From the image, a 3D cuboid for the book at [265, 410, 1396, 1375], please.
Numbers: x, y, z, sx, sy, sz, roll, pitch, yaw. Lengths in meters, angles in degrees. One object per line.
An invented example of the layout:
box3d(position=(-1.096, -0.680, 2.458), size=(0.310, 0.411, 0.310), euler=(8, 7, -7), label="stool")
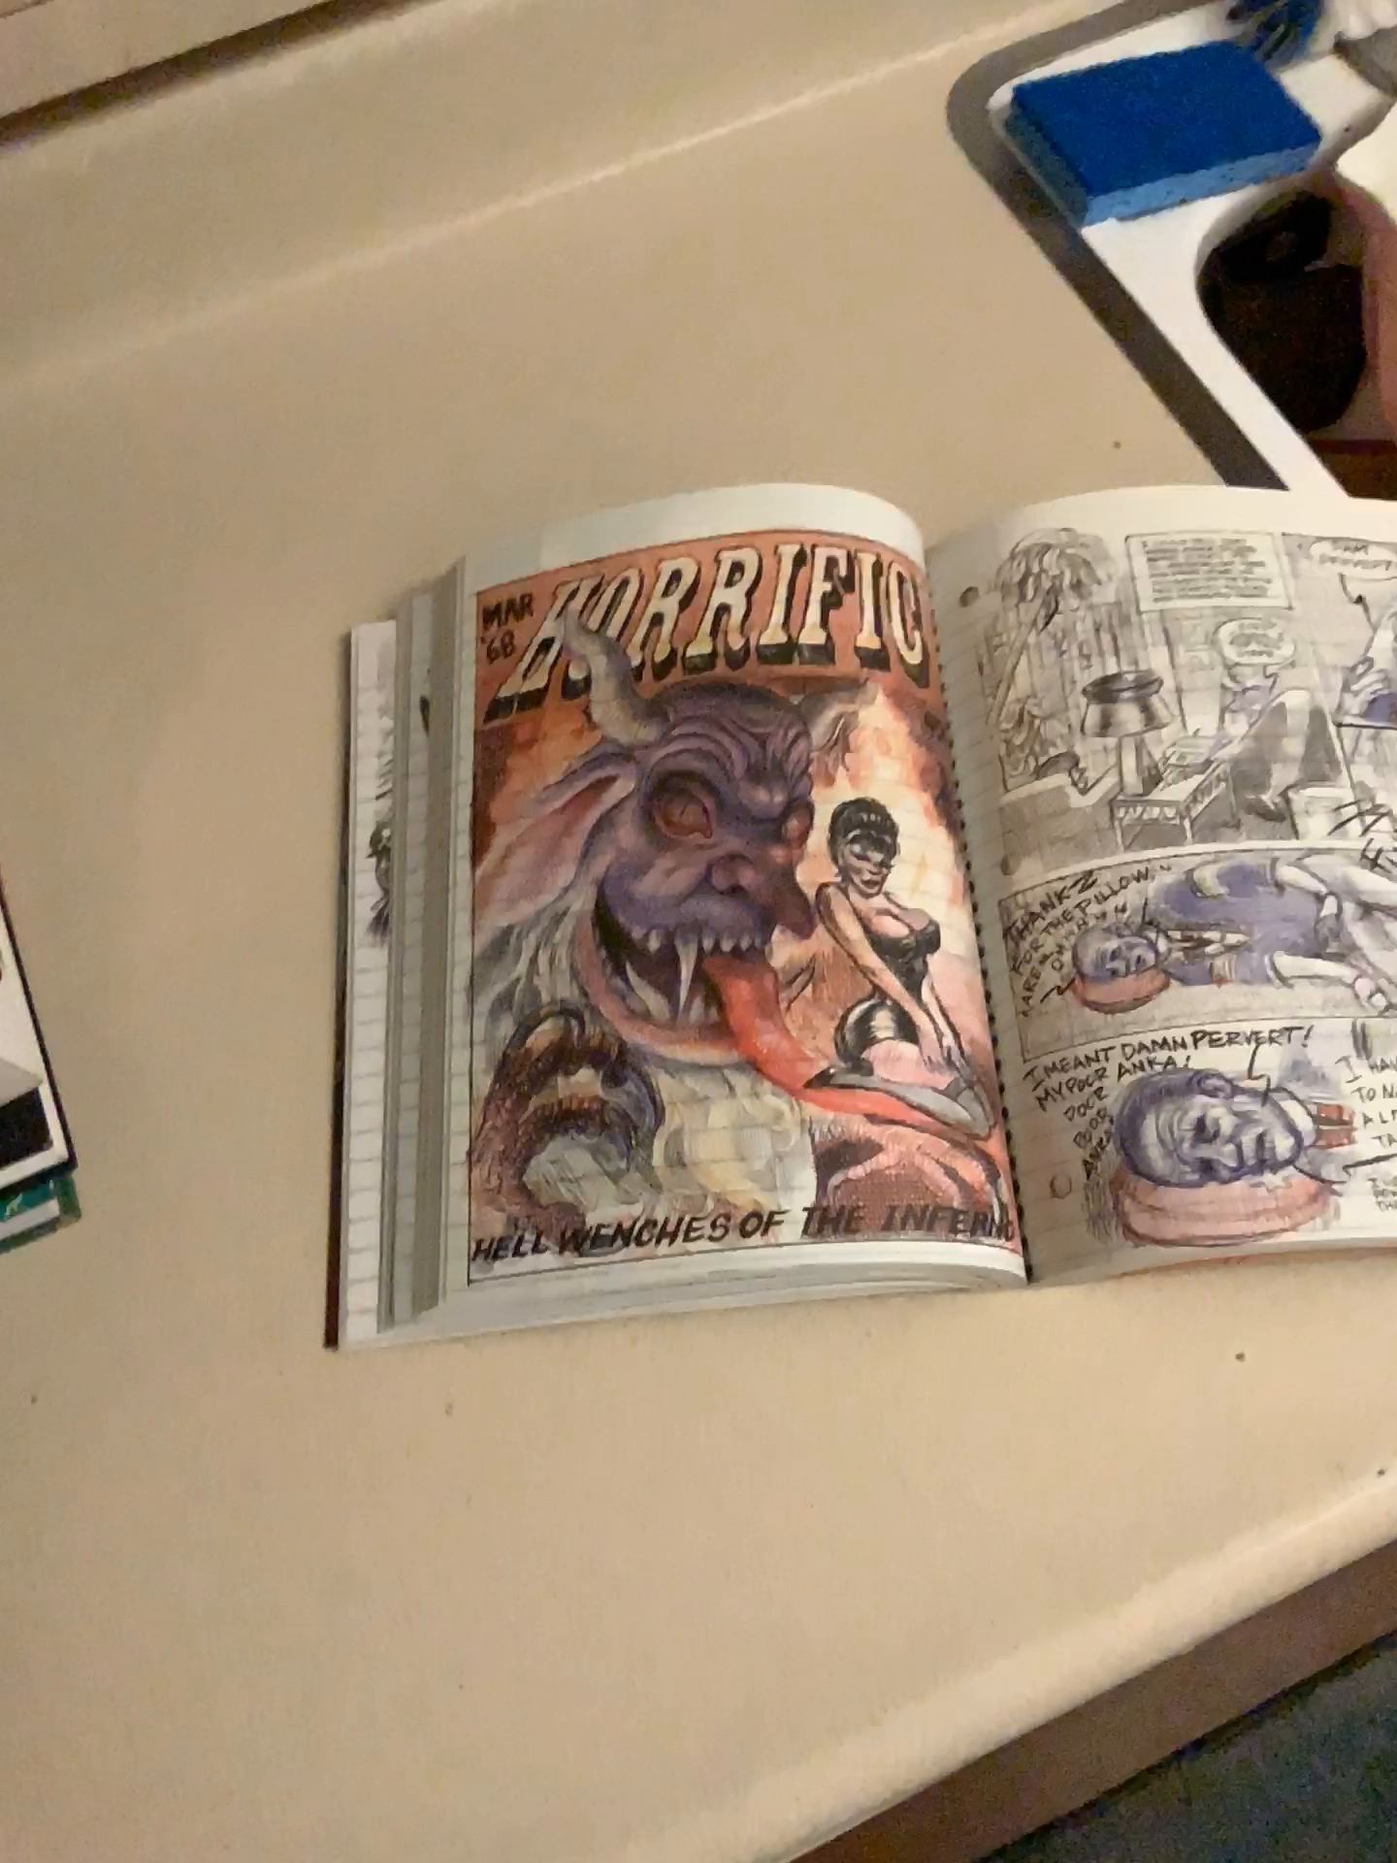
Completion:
box3d(position=(0.090, -0.023, 0.496), size=(0.430, 0.050, 0.280), euler=(-5, 64, 1), label="book")
